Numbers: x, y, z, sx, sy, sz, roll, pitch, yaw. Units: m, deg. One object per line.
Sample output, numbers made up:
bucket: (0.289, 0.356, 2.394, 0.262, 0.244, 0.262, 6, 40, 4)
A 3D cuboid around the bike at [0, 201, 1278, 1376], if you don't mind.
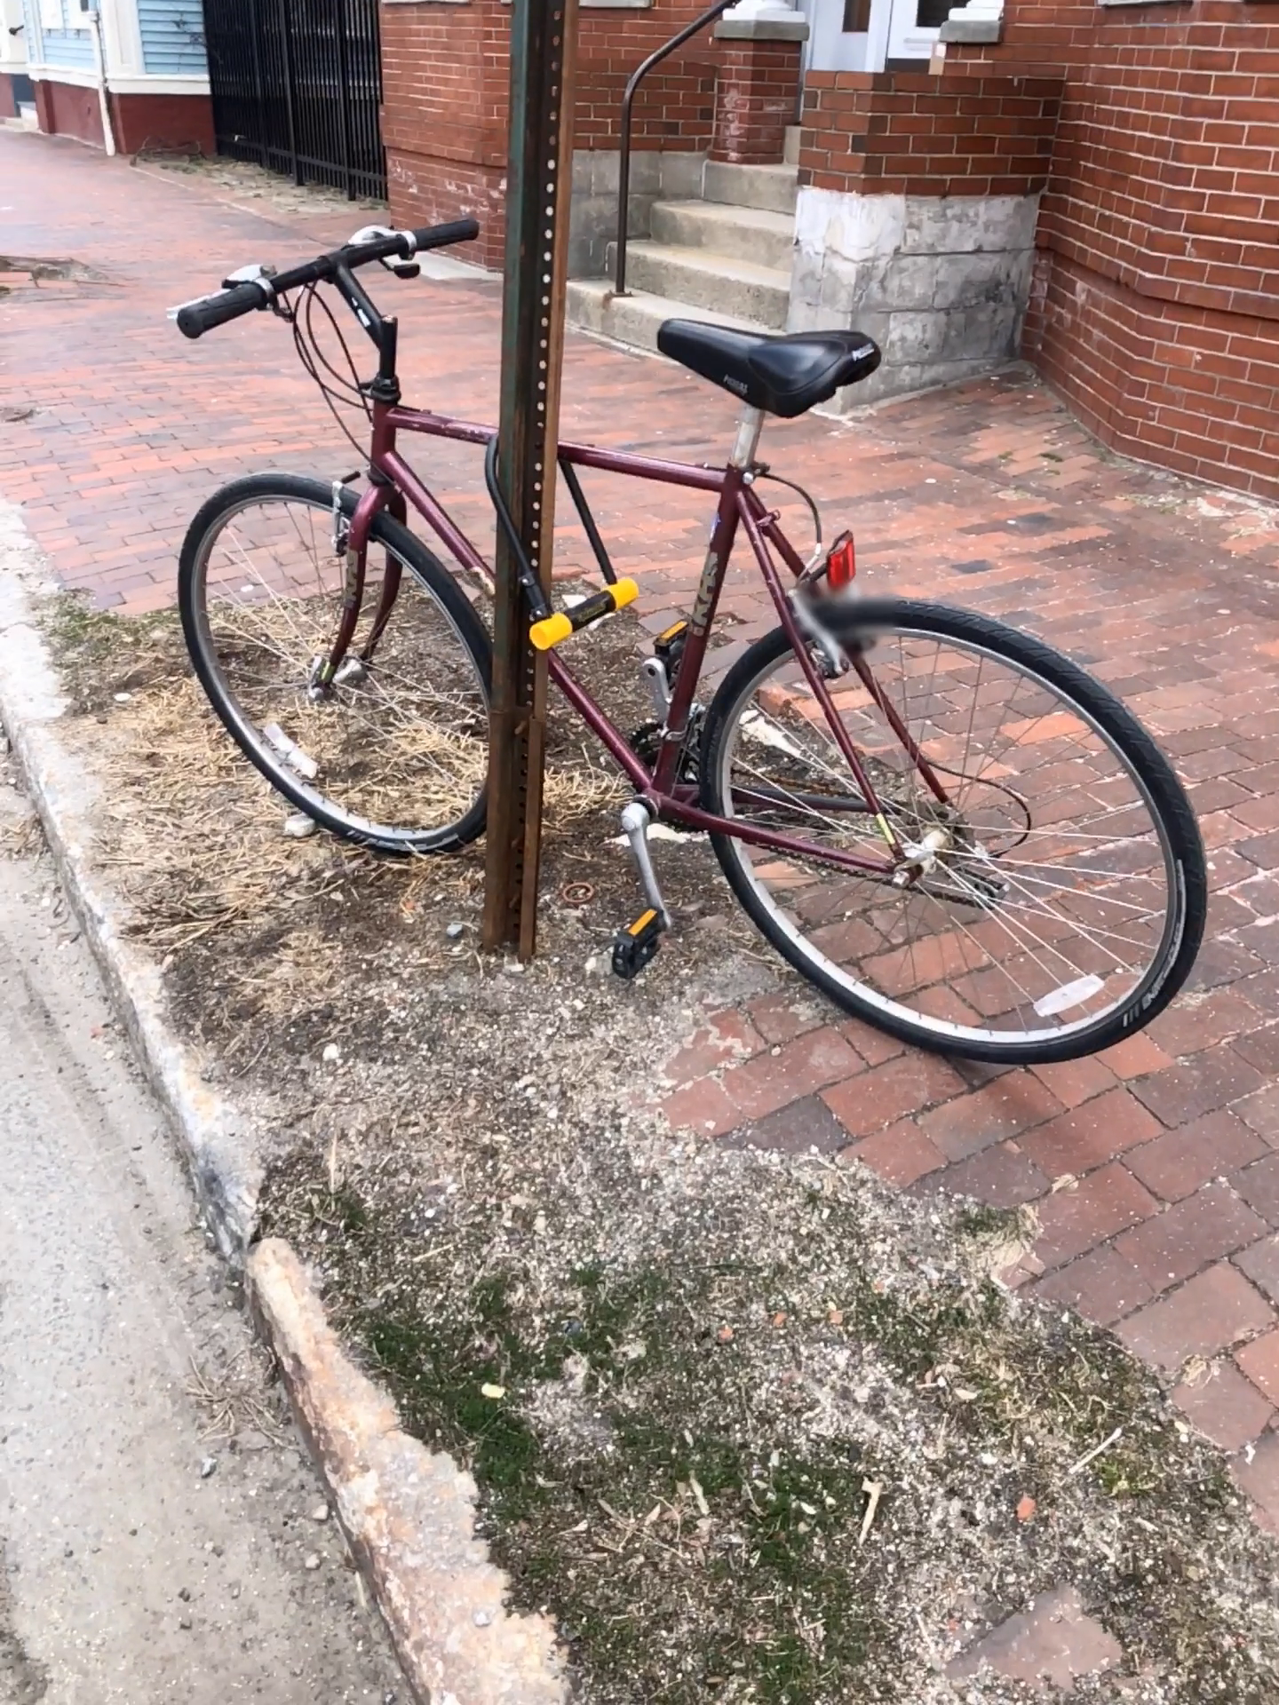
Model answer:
bike: (-0.087, -0.260, 1.923, 1.729, 1.011, 0.670, 19, 33, 28)
